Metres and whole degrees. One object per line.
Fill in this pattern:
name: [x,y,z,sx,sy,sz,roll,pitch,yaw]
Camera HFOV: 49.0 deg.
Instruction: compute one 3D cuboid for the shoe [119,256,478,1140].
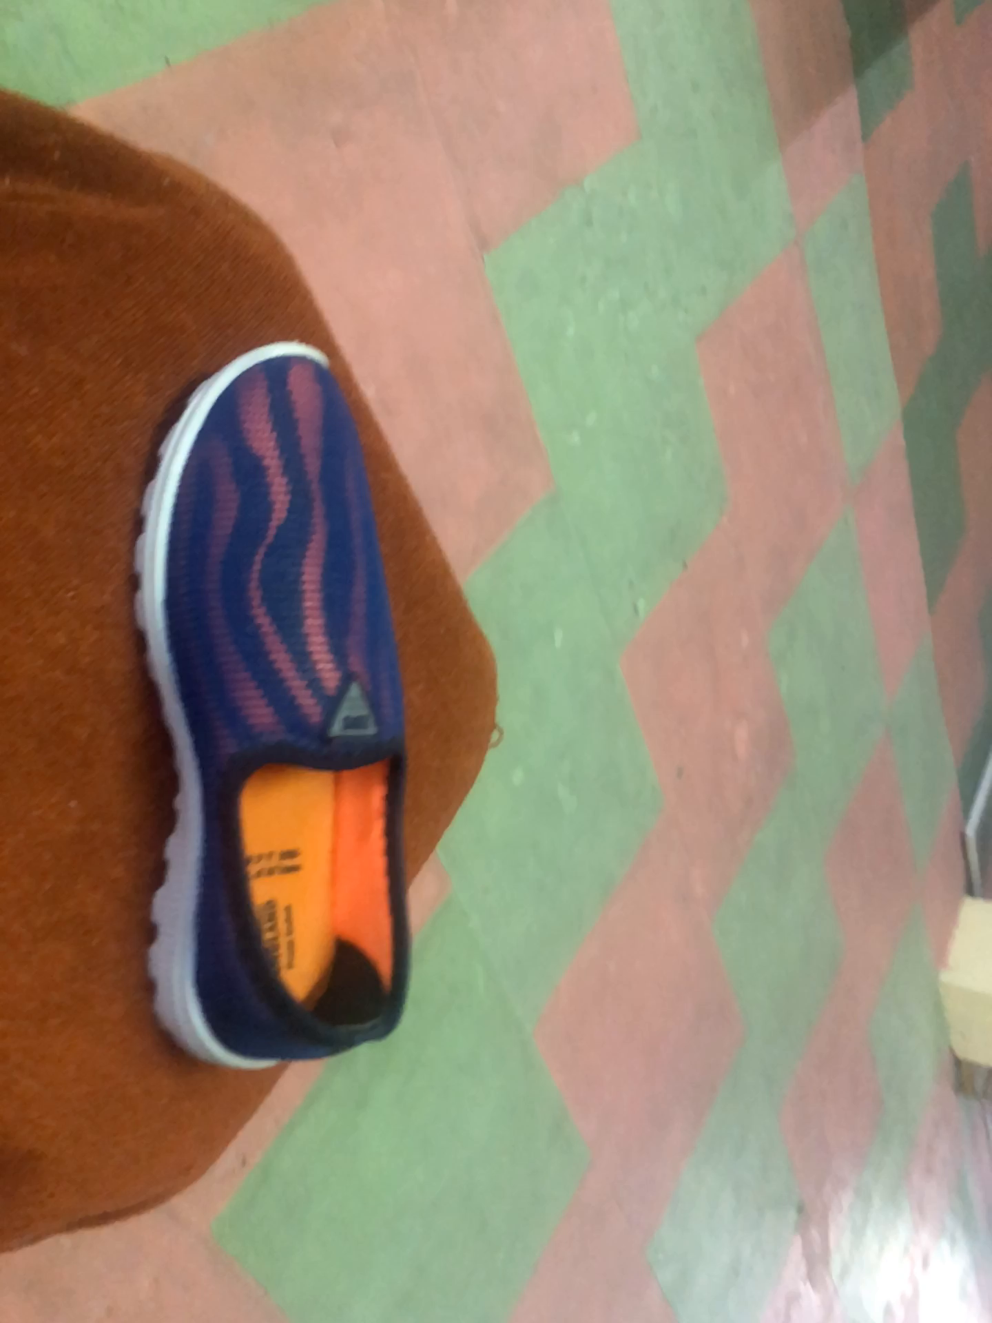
shoe: [-0.066,0.010,0.376,0.091,0.069,0.260,-1,95,-54]
